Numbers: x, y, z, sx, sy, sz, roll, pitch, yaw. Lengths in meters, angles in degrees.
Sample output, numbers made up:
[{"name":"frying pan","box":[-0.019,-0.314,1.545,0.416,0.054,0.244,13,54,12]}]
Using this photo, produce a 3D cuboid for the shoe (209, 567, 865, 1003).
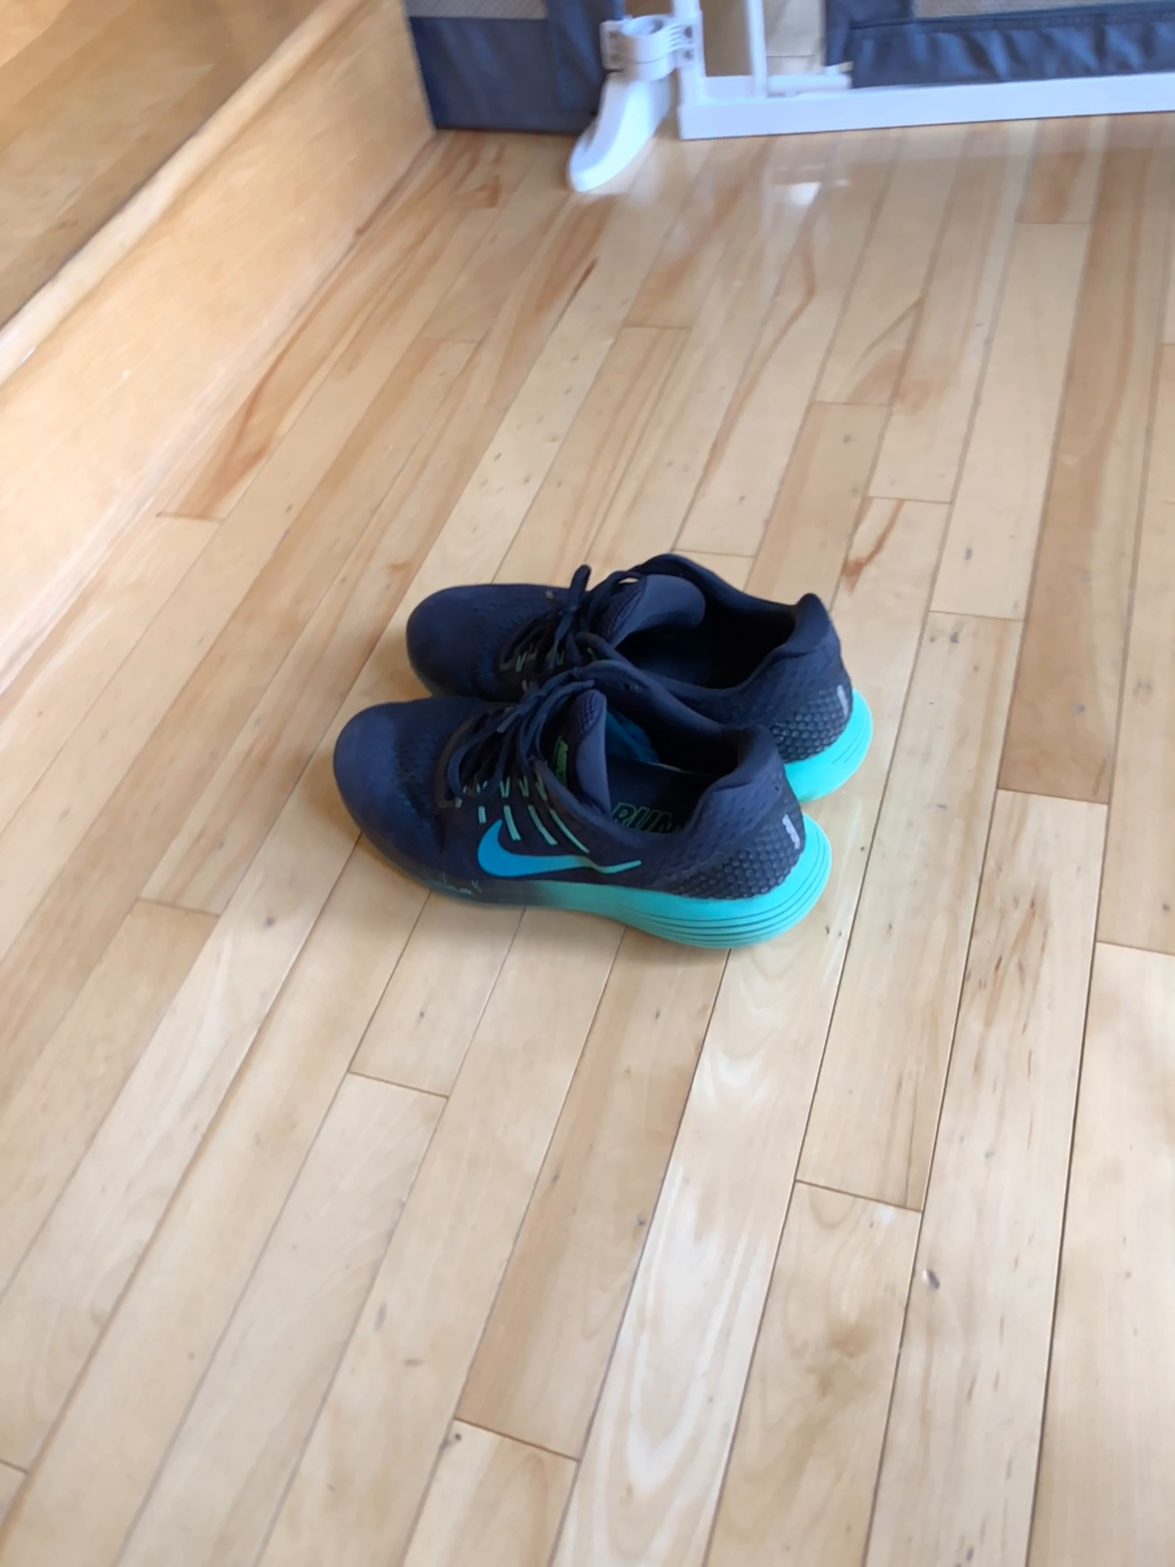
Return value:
[{"name":"shoe","box":[-0.022,-0.008,0.641,0.290,0.100,0.120,14,55,22]}]

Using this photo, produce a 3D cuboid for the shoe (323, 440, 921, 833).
[{"name":"shoe","box":[0.019,-0.088,0.705,0.290,0.100,0.120,17,56,23]}]
